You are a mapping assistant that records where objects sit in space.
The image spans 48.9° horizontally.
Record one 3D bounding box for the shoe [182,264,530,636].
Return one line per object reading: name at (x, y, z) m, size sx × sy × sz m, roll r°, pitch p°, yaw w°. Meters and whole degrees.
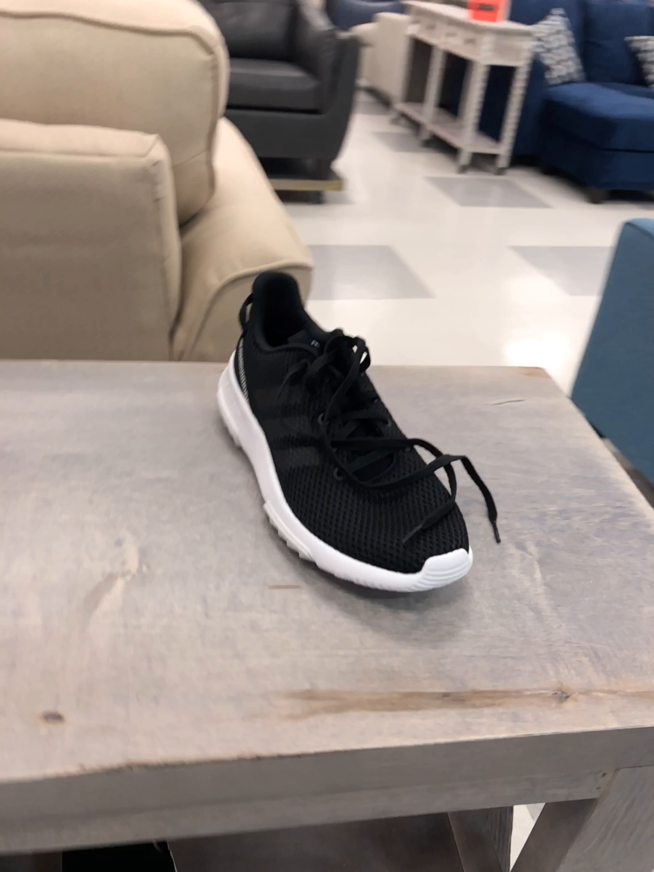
shoe at (-0.005, -0.015, 0.517) m, size 0.120 × 0.109 × 0.284 m, roll -11°, pitch 37°, yaw -24°
